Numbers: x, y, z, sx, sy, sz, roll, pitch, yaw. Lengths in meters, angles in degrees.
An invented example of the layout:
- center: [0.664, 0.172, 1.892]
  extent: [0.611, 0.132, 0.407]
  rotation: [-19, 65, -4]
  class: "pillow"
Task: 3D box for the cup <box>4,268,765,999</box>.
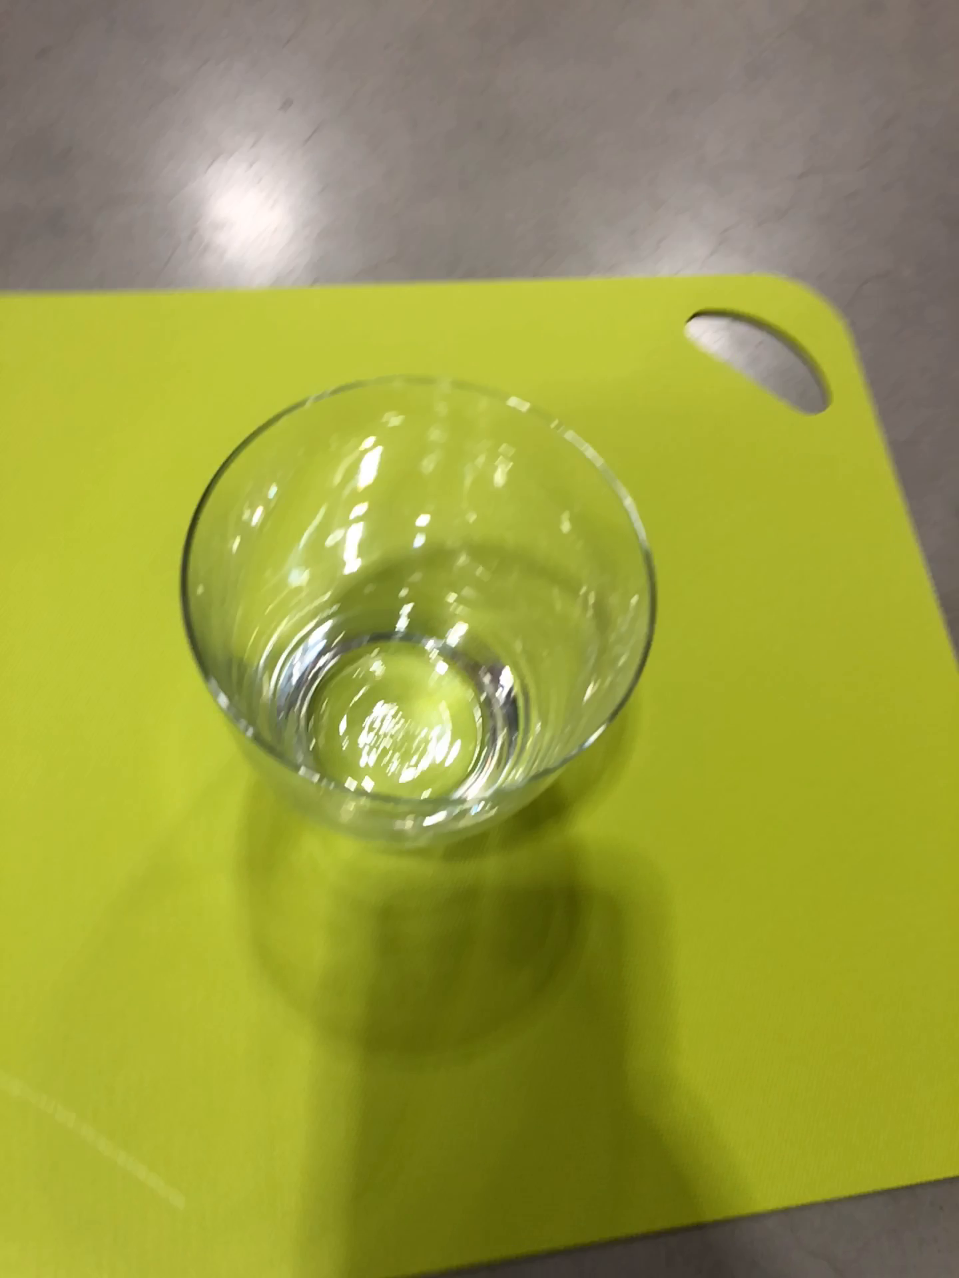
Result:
- center: [-0.023, 0.002, 0.255]
  extent: [0.110, 0.090, 0.110]
  rotation: [3, 67, -6]
  class: "cup"
